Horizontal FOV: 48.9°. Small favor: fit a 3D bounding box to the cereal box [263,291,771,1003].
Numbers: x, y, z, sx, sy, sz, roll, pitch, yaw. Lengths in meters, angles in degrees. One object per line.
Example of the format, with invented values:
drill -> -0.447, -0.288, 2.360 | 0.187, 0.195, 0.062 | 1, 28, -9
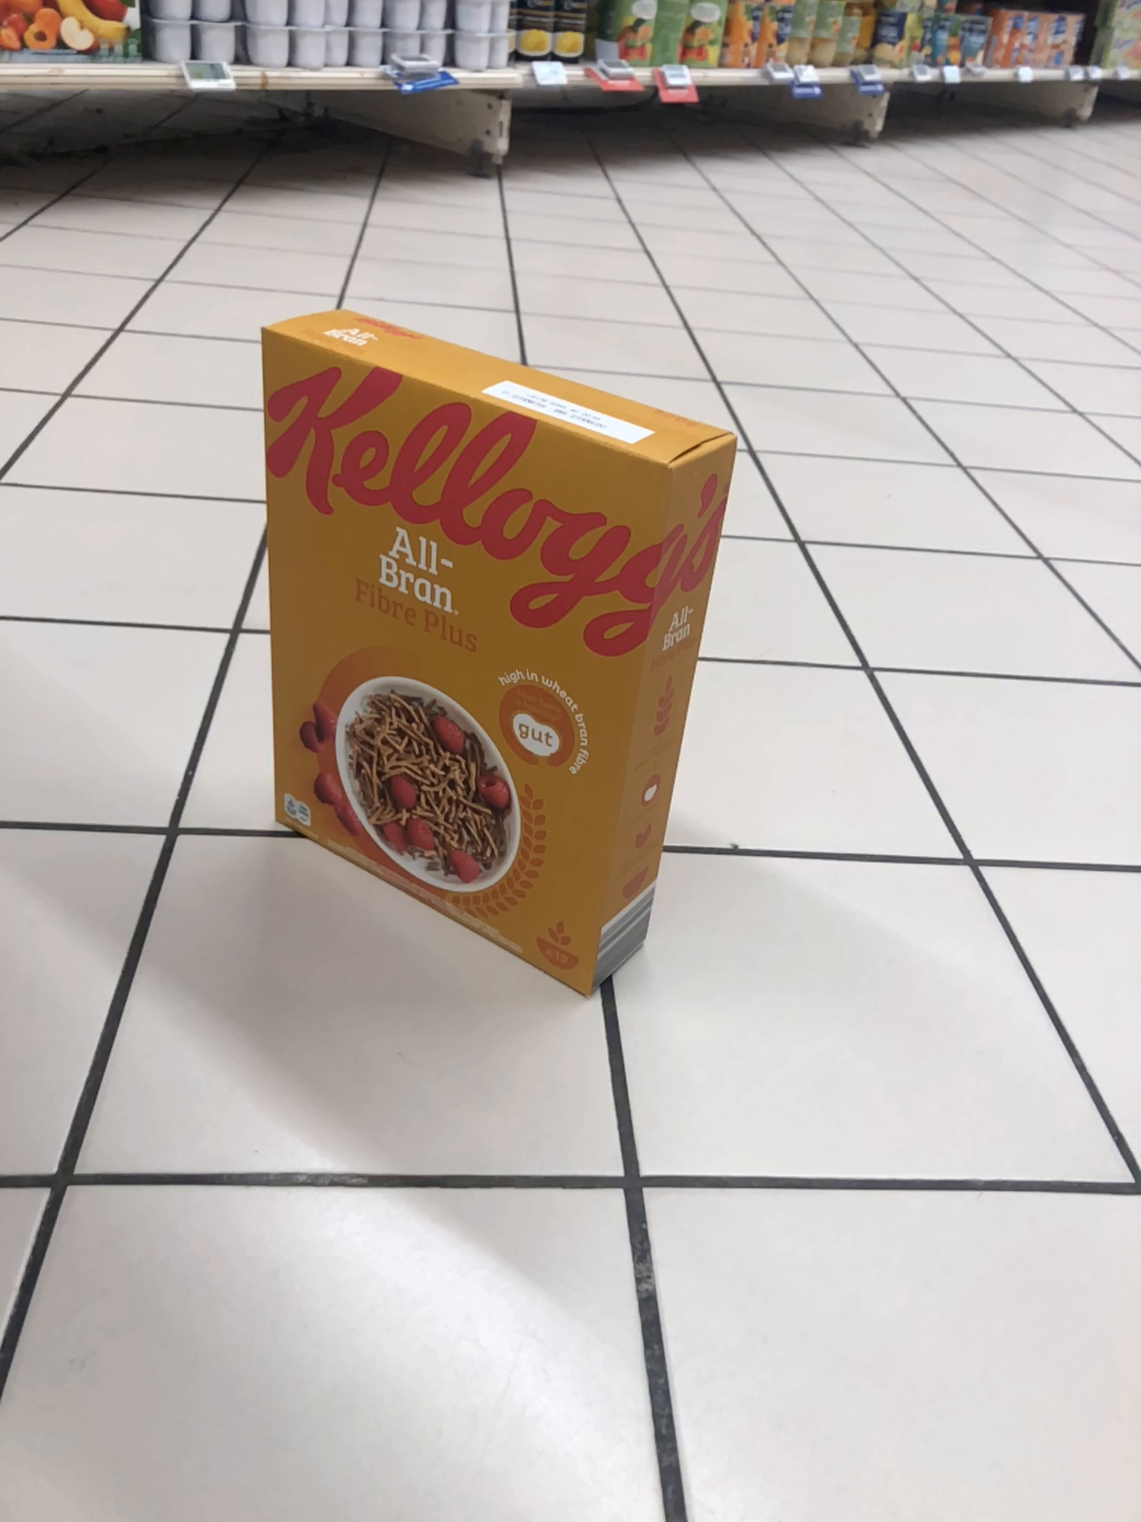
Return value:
cereal box -> -0.035, -0.048, 0.523 | 0.190, 0.238, 0.060 | 25, 37, 27
